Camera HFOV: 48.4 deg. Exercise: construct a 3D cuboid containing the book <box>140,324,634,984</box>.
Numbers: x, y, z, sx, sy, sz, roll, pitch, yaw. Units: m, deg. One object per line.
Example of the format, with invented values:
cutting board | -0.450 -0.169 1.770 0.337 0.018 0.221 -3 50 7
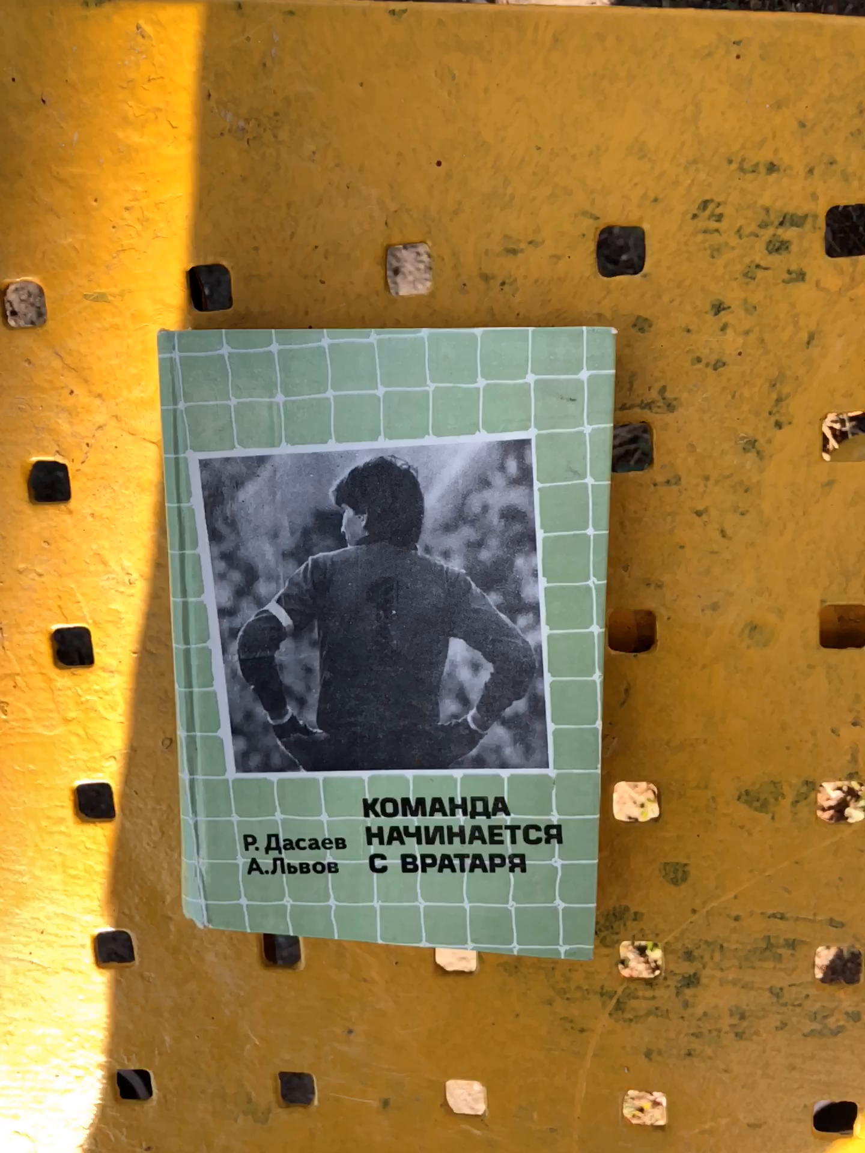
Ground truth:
book | -0.011 0.019 0.255 0.117 0.030 0.164 2 101 9
